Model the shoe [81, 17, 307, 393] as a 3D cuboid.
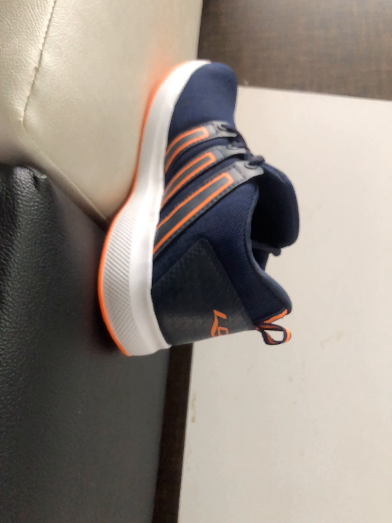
[{"bbox_3d":[0.021,-0.054,0.364,0.120,0.110,0.280,72,26,-60],"label":"shoe"}]
